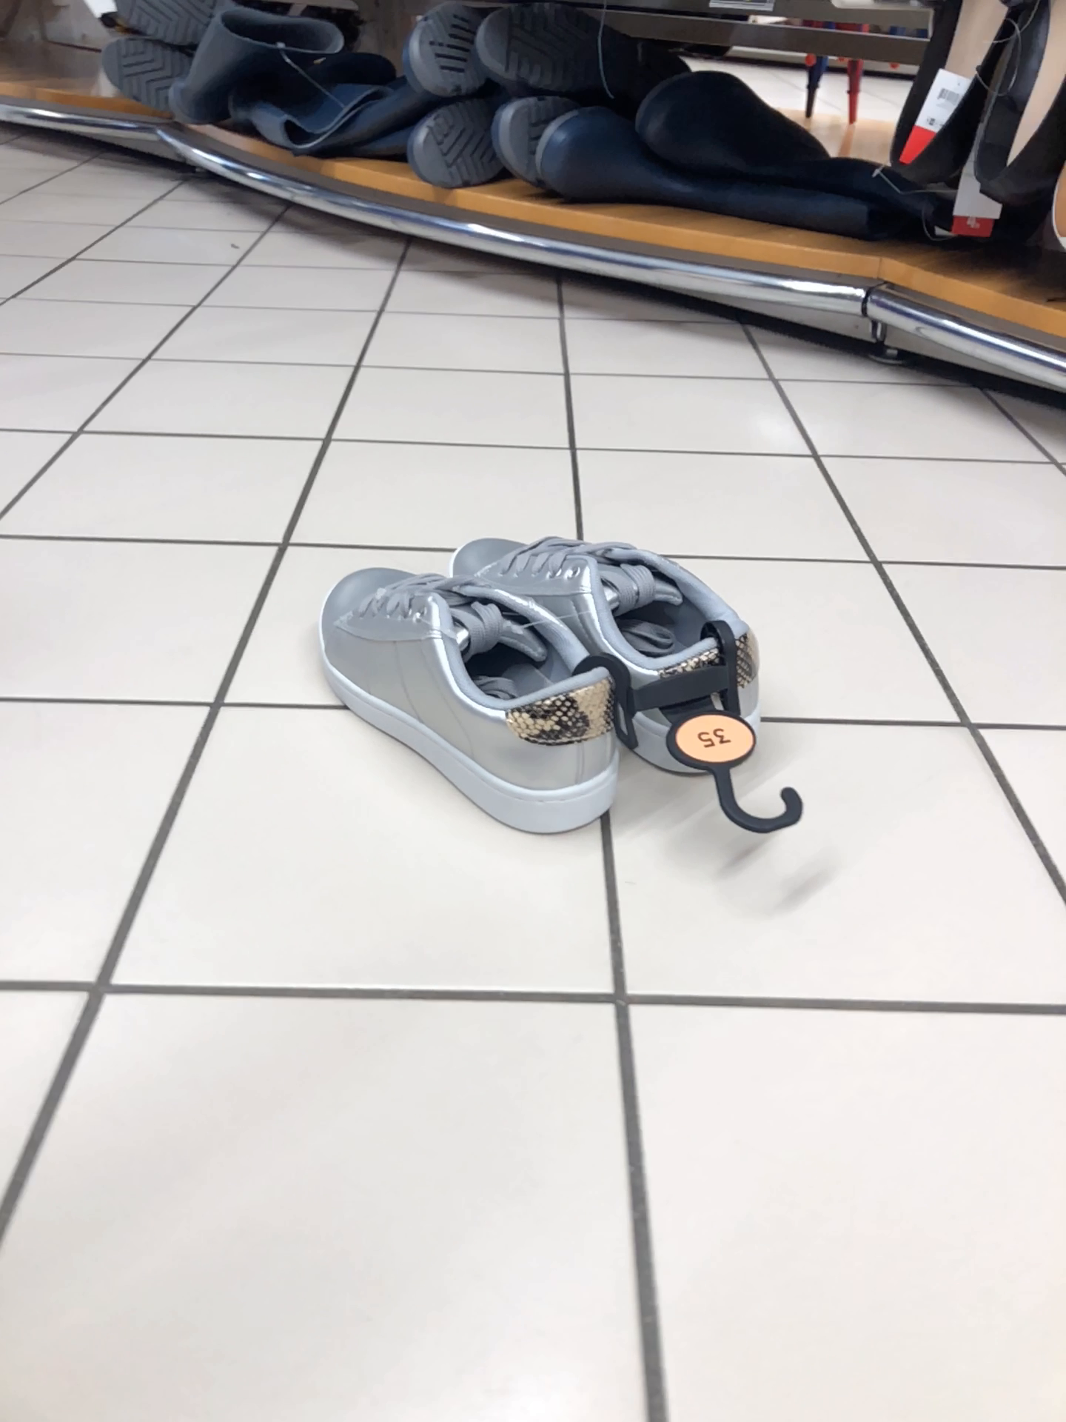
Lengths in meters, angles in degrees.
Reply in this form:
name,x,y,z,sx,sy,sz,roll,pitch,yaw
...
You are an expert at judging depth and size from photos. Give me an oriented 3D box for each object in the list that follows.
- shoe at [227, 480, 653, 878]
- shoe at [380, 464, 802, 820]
name,x,y,z,sx,sy,sz,roll,pitch,yaw
shoe,-0.055,-0.029,0.592,0.090,0.089,0.230,-22,40,-33
shoe,0.021,-0.049,0.642,0.090,0.089,0.230,-24,41,-34
